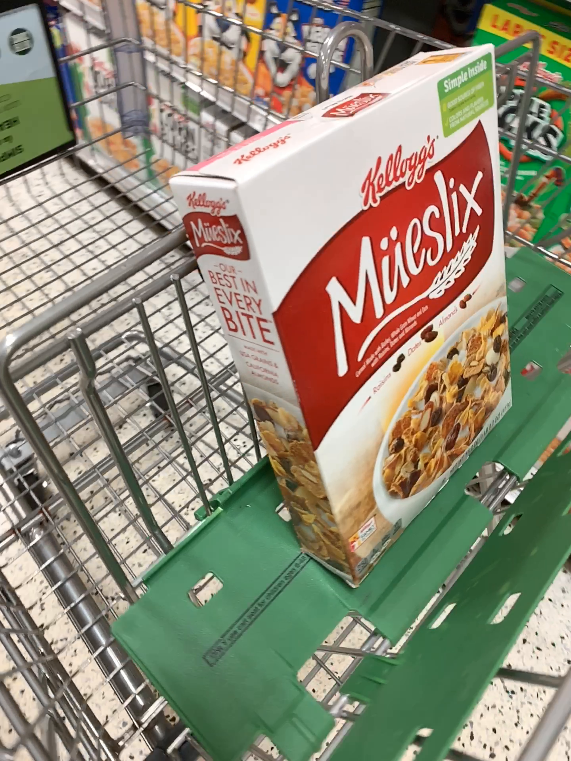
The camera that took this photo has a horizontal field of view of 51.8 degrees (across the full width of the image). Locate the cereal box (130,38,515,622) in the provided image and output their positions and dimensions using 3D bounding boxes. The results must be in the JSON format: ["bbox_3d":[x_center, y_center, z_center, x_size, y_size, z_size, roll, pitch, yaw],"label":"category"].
[{"bbox_3d":[0.056,-0.024,0.350,0.060,0.268,0.201,20,49,42],"label":"cereal box"}]
